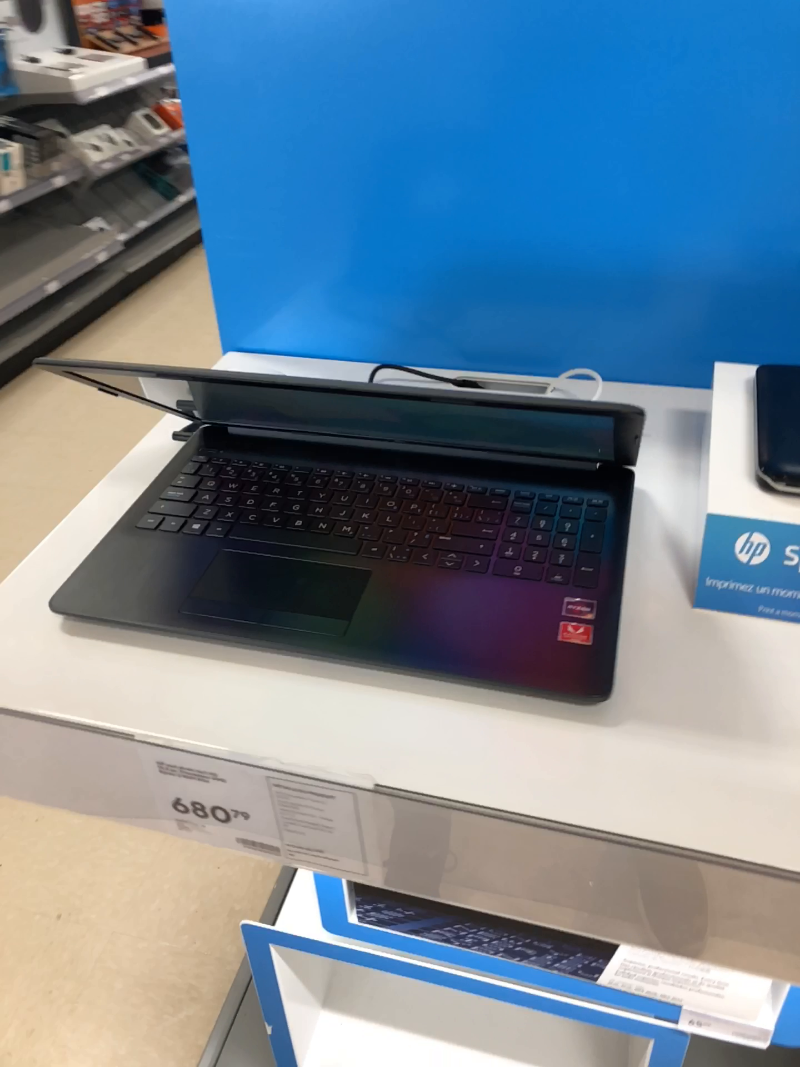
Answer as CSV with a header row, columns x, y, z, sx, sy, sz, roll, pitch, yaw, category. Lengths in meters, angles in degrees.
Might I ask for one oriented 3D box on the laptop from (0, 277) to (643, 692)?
x,y,z,sx,sy,sz,roll,pitch,yaw,category
-0.029,-0.055,0.588,0.355,0.130,0.243,7,36,11,laptop
